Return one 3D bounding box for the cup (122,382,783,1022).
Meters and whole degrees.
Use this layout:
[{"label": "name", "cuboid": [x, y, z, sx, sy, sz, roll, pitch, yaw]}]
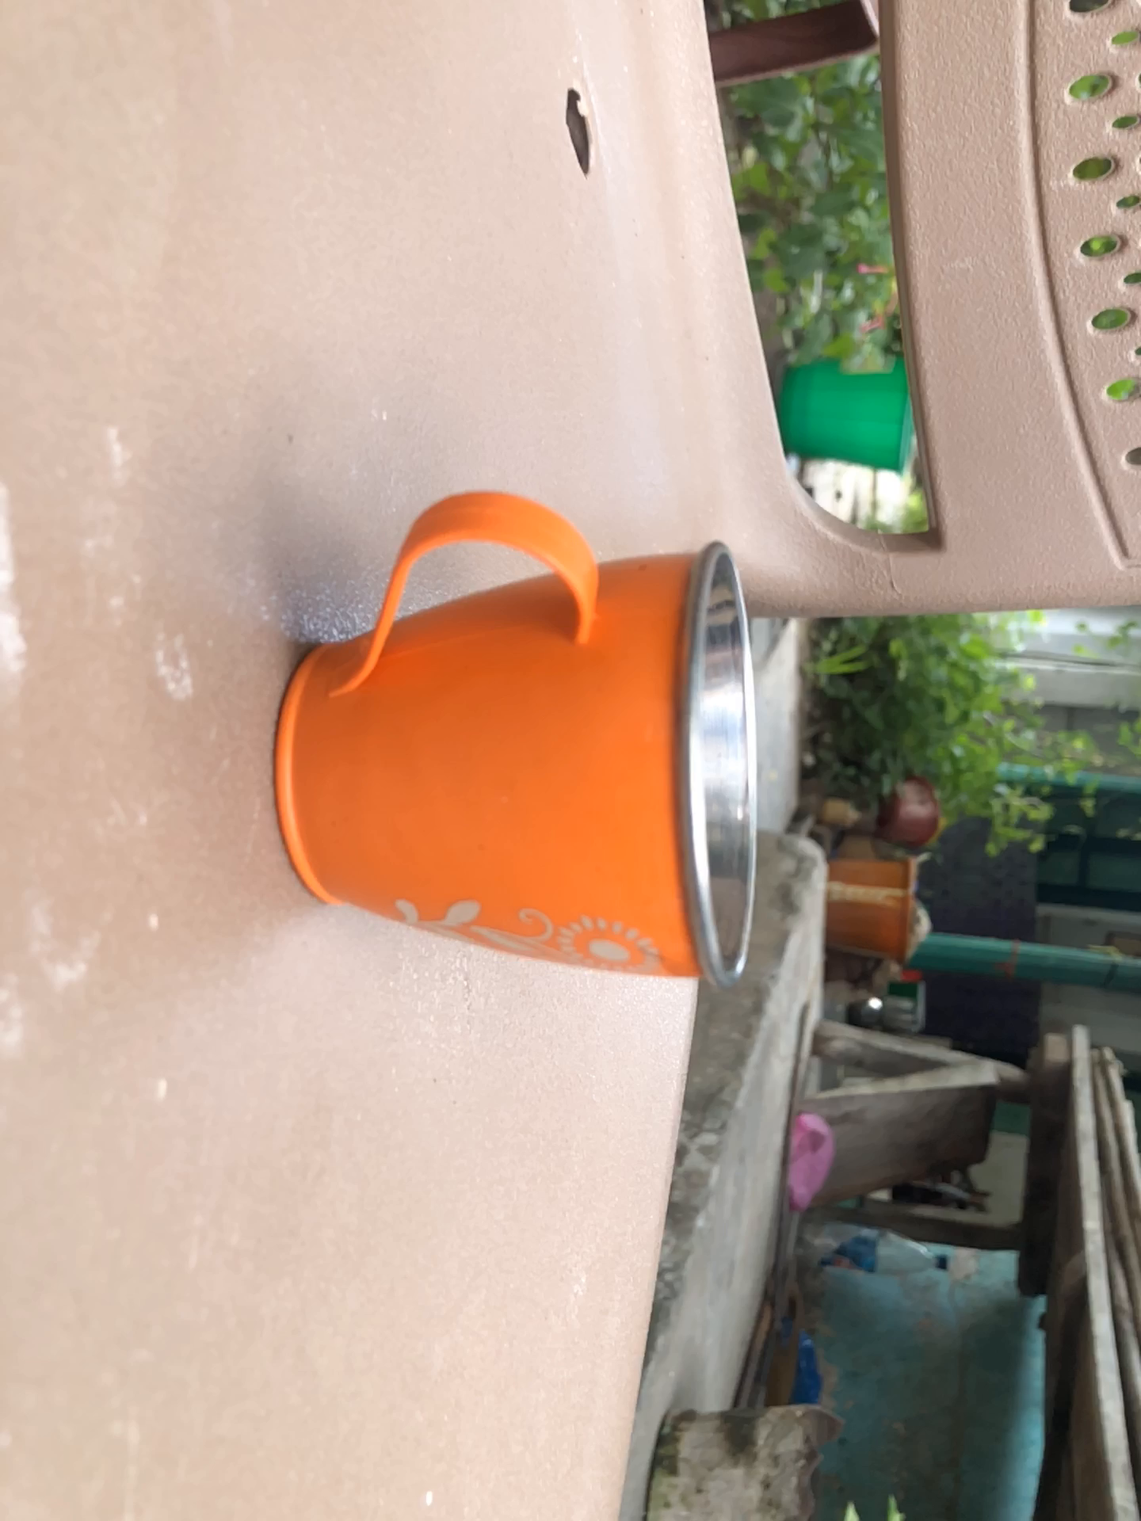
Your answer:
[{"label": "cup", "cuboid": [-0.007, -0.004, 0.176, 0.080, 0.060, 0.050, 67, 32, -58]}]
